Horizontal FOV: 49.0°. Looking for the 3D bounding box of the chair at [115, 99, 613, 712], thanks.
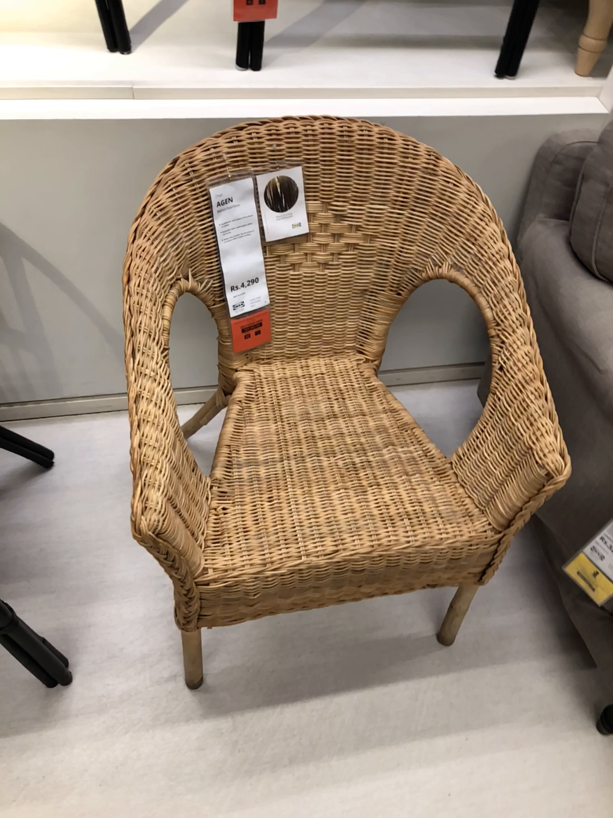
[{"bbox_3d":[0.039,0.016,1.041,0.550,0.696,0.603,-5,53,-10],"label":"chair"}]
